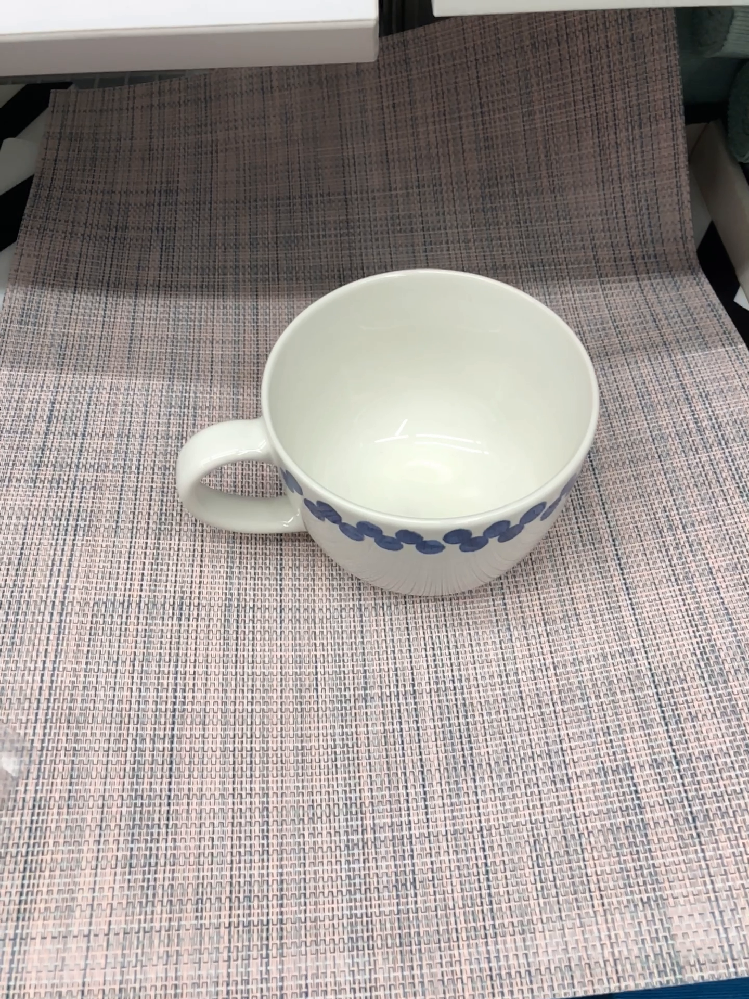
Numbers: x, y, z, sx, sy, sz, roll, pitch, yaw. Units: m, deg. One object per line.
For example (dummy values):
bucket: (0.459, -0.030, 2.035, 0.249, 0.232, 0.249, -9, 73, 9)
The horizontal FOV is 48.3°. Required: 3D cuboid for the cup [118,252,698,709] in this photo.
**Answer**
cup: (0.002, -0.009, 0.269, 0.150, 0.060, 0.110, -10, 56, -5)
